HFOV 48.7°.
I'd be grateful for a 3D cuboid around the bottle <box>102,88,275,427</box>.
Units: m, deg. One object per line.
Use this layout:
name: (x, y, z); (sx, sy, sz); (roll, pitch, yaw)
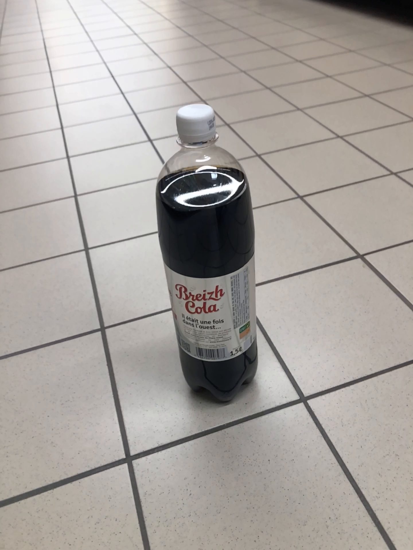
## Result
bottle: (-0.002, 0.000, 0.451); (0.100, 0.318, 0.090); (28, 50, 36)
